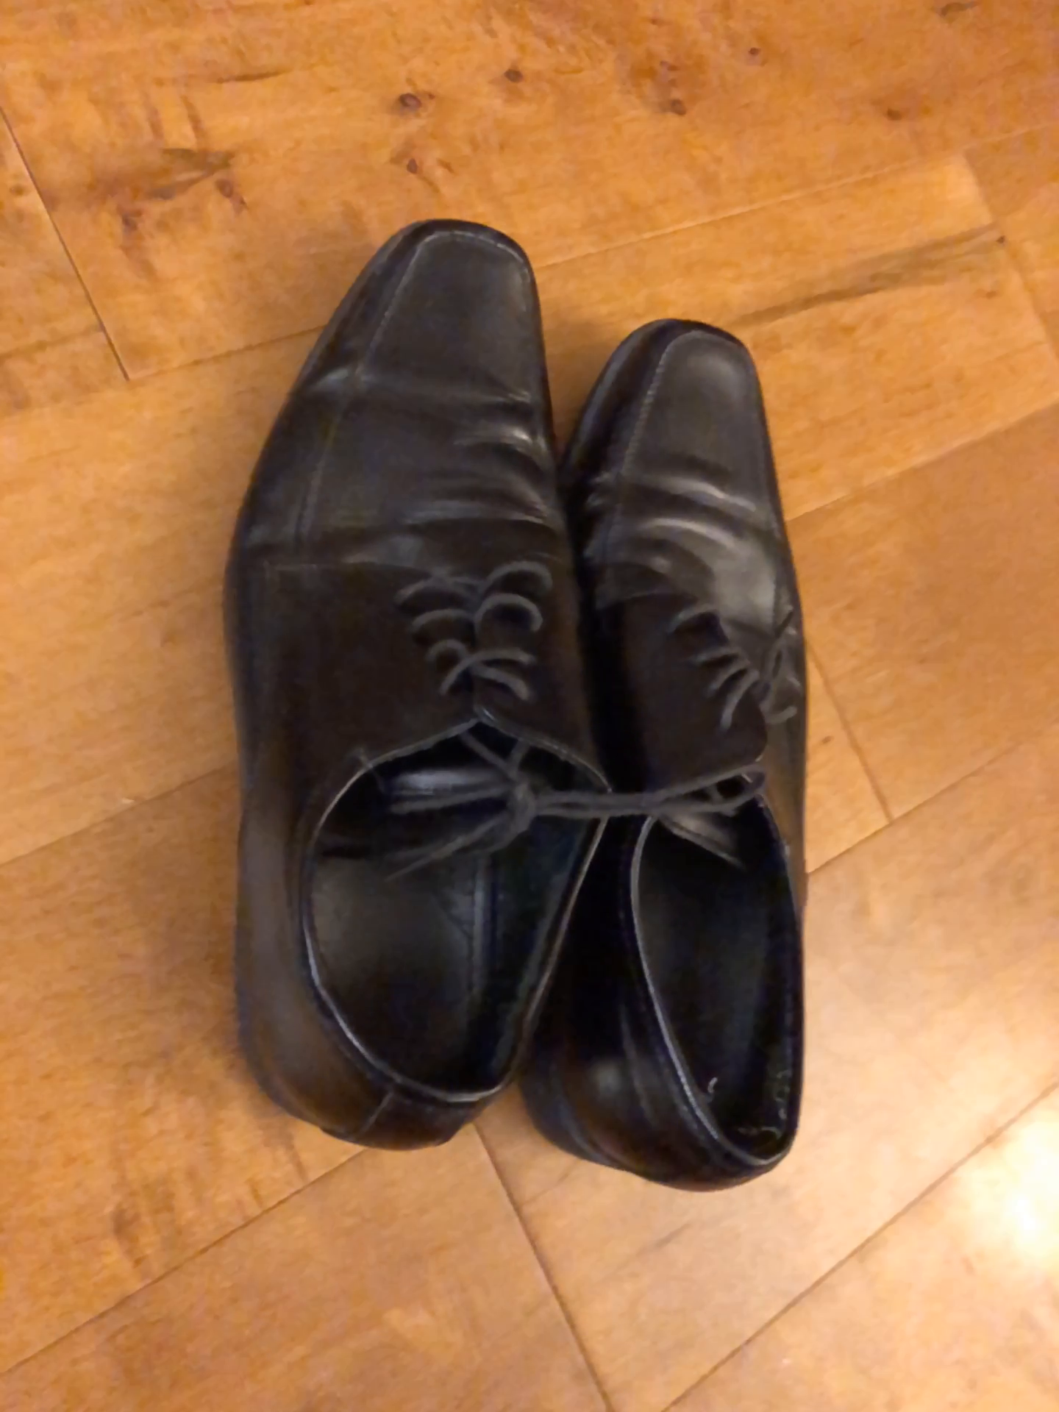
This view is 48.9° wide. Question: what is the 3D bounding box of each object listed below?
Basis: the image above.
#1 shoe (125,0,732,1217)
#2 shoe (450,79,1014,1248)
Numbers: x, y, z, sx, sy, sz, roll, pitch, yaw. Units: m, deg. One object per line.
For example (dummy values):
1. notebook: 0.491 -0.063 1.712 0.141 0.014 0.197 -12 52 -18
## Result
1. shoe: -0.031 -0.031 0.342 0.110 0.130 0.310 10 76 -21
2. shoe: 0.064 -0.008 0.376 0.110 0.130 0.310 10 76 -21
